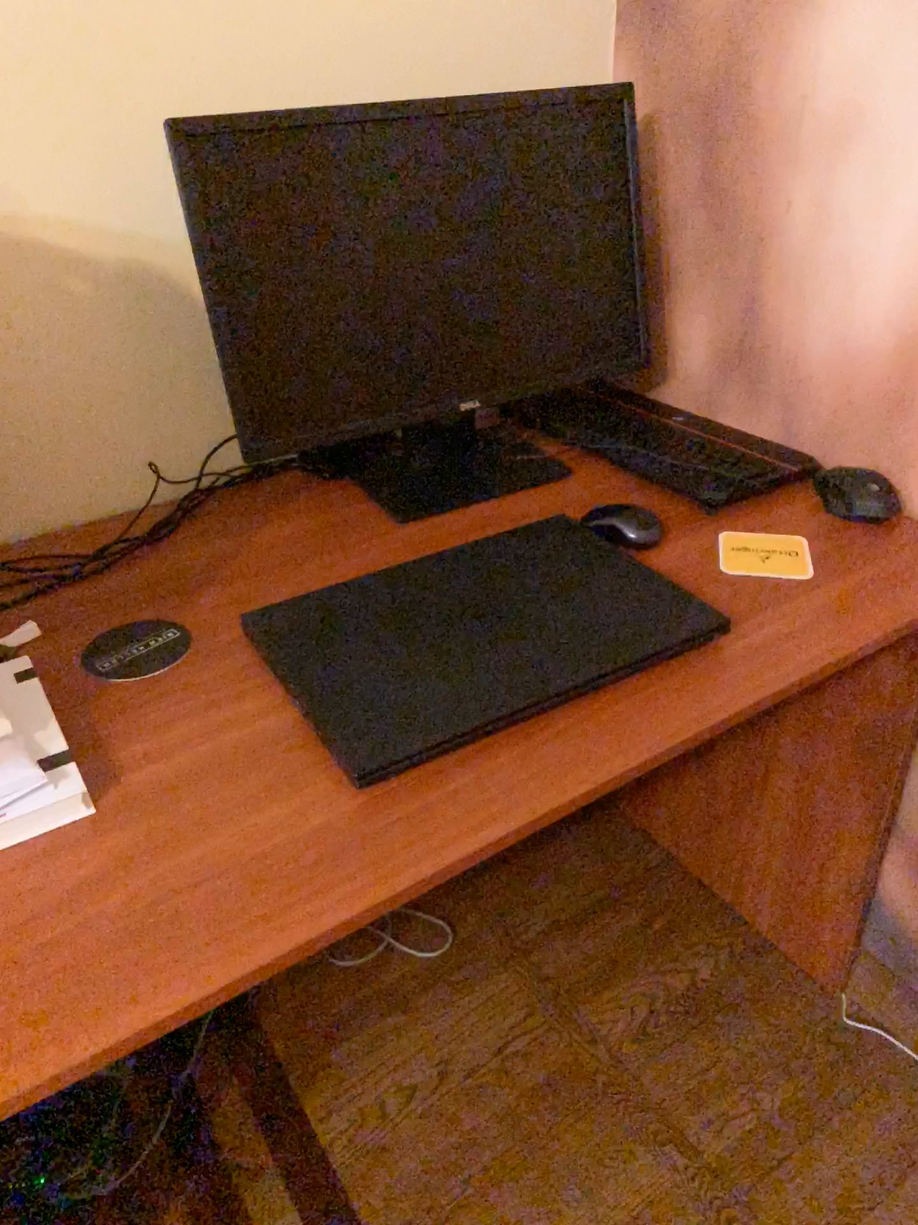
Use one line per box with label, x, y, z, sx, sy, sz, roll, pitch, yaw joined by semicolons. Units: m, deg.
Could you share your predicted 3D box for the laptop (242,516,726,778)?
laptop;0.019;0.007;0.829;0.360;0.002;0.249;-19;36;-26
